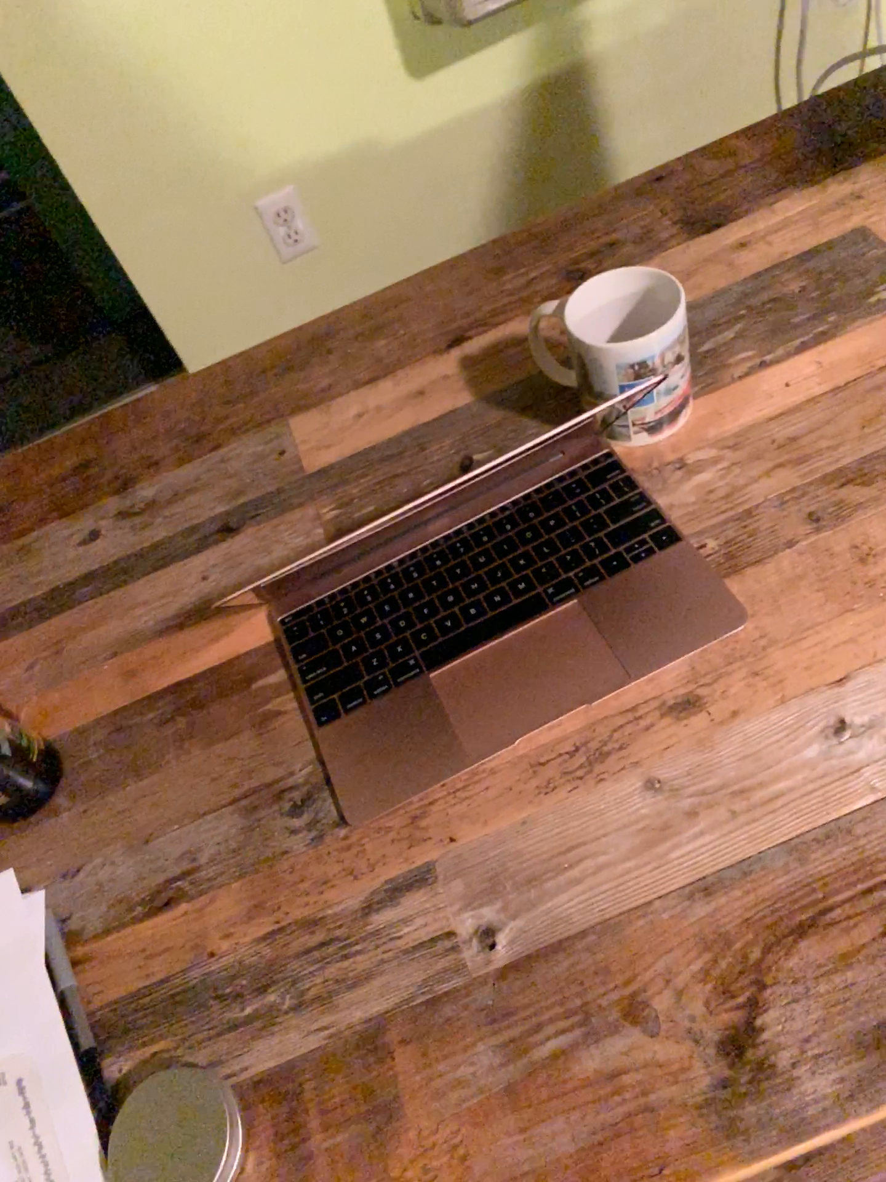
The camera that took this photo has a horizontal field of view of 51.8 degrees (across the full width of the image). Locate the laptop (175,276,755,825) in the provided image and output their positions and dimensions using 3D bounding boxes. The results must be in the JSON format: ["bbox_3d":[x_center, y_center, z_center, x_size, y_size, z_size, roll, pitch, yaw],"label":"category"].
[{"bbox_3d":[0.013,-0.027,0.571,0.278,0.145,0.194,-27,52,-2],"label":"laptop"}]
